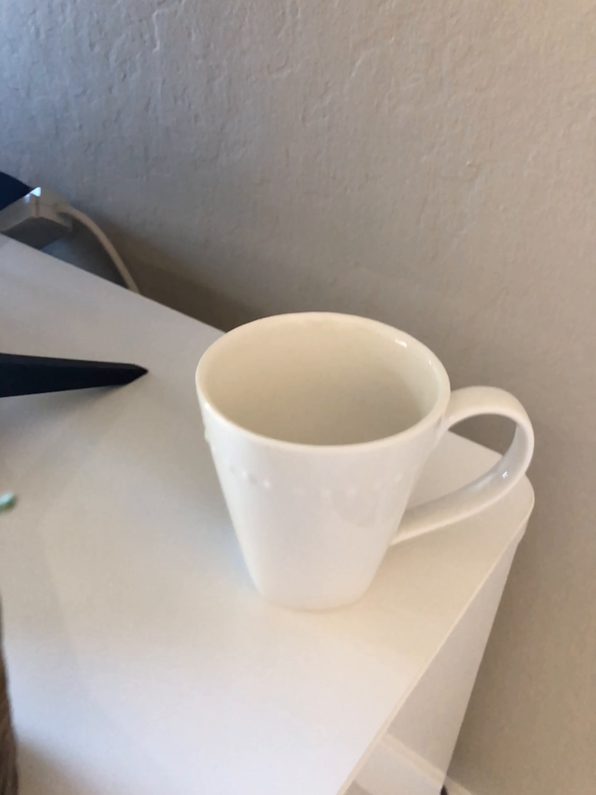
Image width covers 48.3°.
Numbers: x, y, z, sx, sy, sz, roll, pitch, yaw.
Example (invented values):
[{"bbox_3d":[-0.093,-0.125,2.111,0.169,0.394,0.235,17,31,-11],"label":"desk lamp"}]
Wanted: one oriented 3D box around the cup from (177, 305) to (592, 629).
[{"bbox_3d":[0.026,0.025,0.271,0.130,0.090,0.090,2,35,-1],"label":"cup"}]
